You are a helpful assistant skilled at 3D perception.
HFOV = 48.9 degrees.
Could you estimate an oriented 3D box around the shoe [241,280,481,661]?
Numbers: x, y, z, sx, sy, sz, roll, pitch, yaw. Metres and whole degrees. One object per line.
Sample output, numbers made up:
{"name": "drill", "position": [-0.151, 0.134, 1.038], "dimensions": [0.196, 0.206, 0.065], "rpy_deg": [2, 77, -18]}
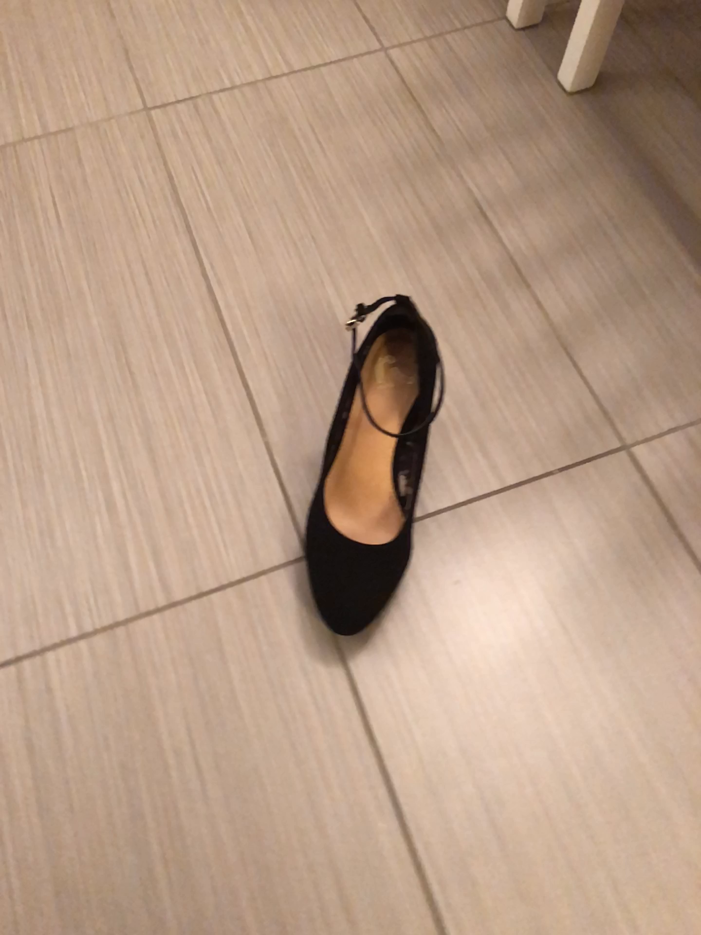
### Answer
{"name": "shoe", "position": [0.016, 0.002, 0.596], "dimensions": [0.100, 0.140, 0.241], "rpy_deg": [15, 63, 9]}
